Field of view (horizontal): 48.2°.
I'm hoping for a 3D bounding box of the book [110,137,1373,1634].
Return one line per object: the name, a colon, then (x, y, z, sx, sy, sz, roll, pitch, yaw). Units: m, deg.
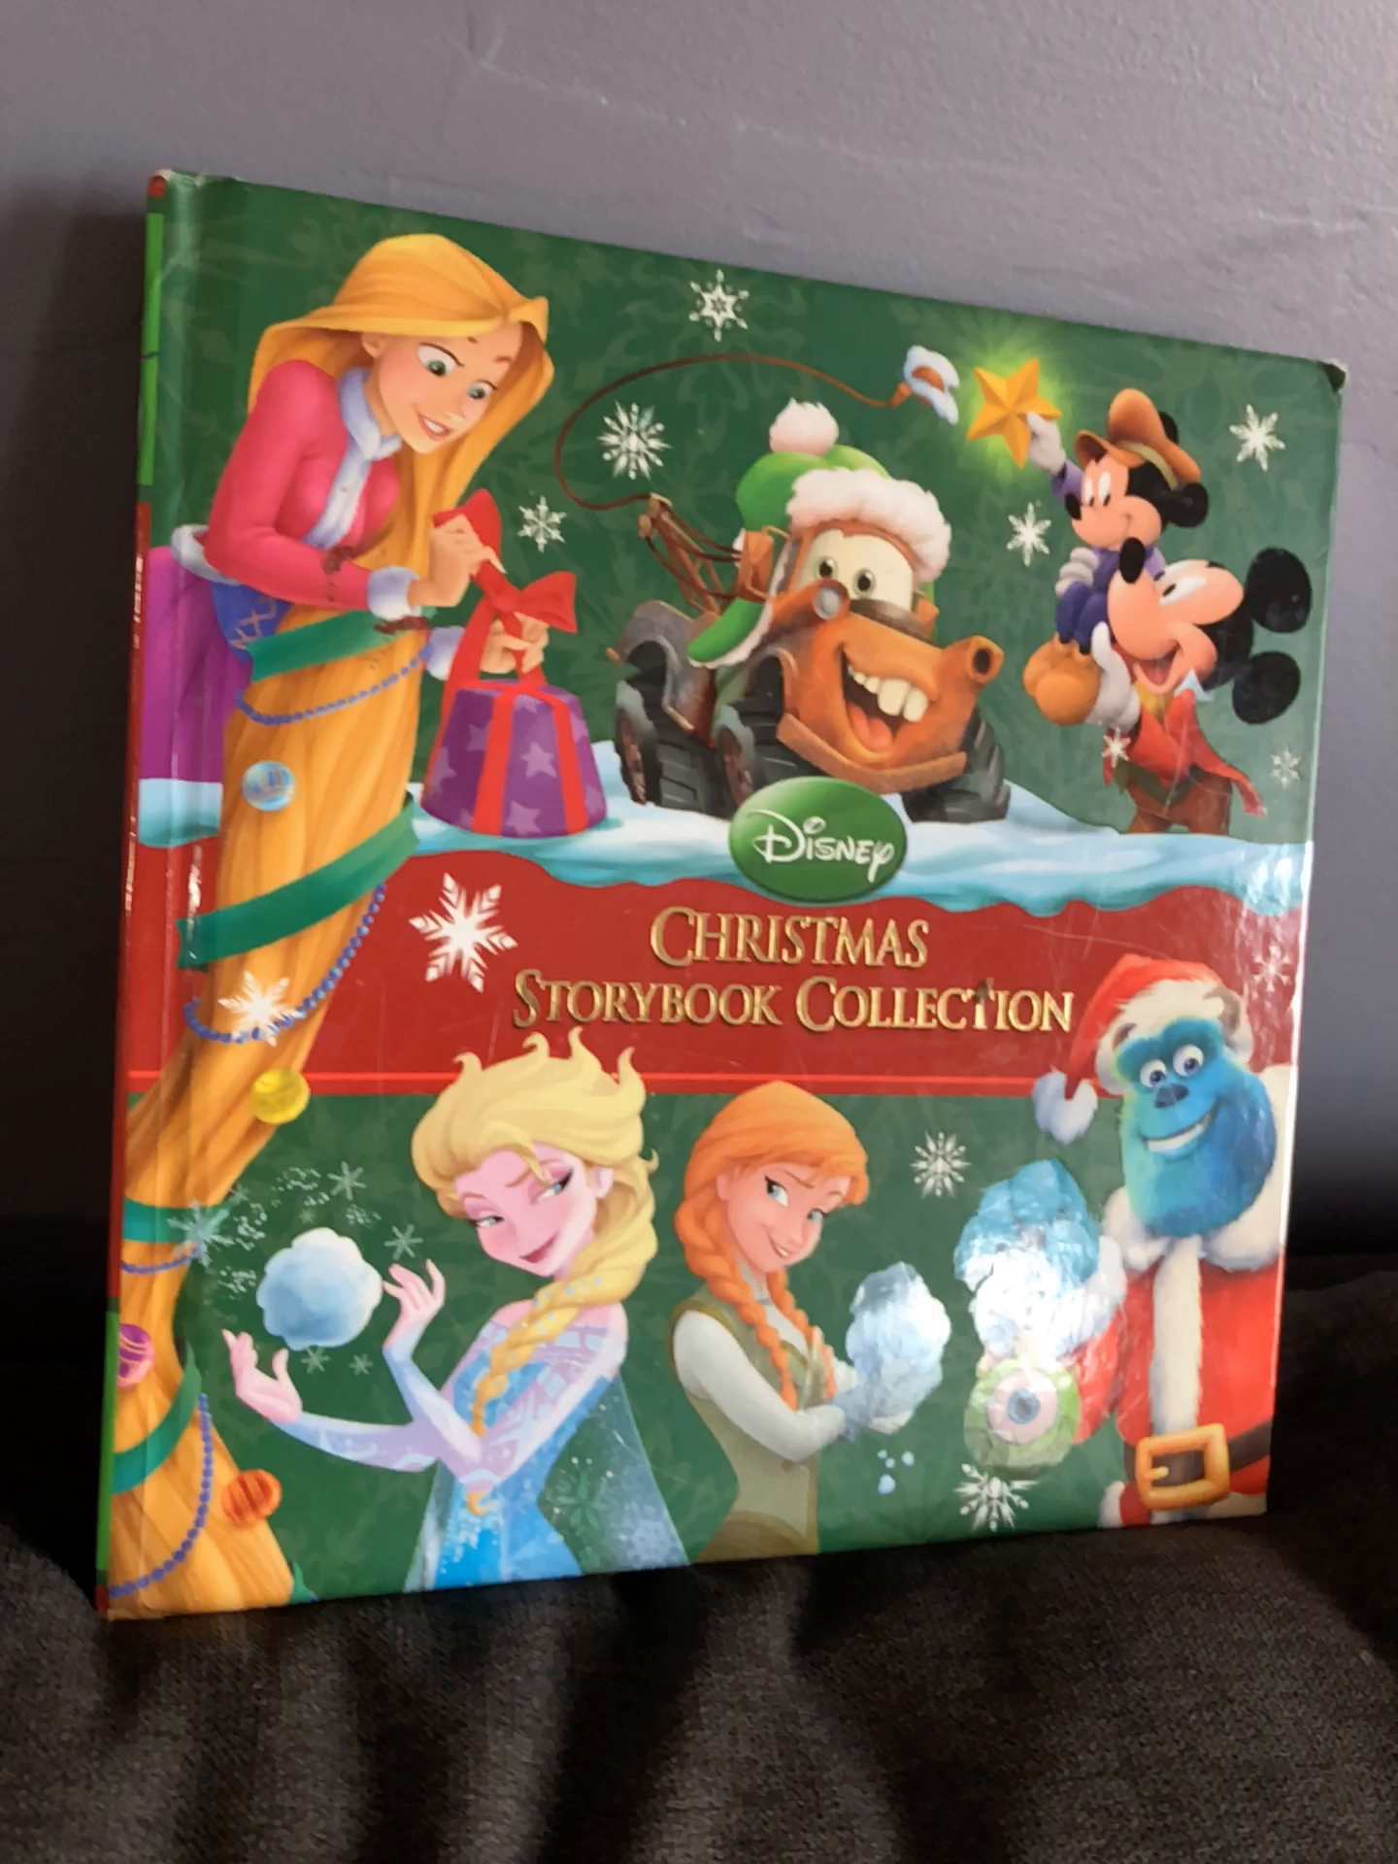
book: (0.013, -0.002, 0.298, 0.227, 0.238, 0.033, 2, 4, -17)
